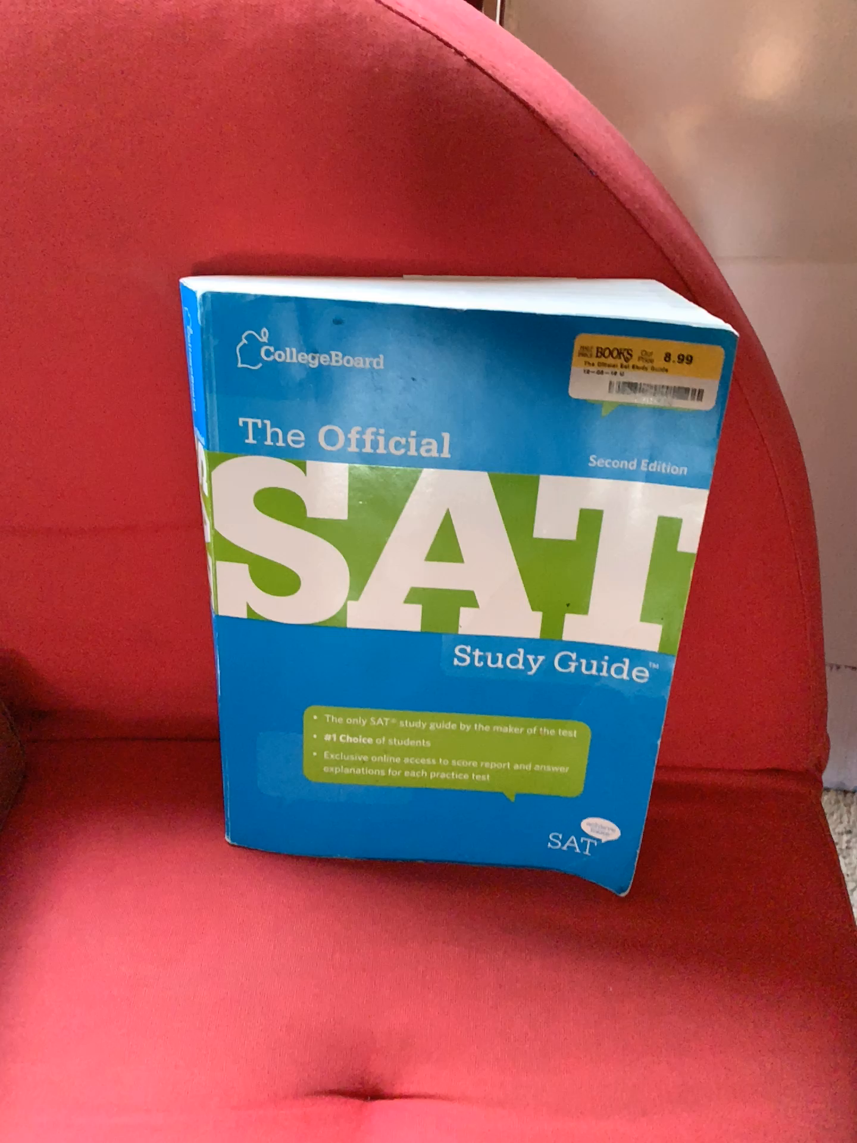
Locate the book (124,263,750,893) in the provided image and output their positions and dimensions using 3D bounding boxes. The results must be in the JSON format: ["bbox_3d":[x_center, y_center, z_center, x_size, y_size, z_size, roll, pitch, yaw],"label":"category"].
[{"bbox_3d":[0.000,0.001,0.401,0.230,0.259,0.080,4,19,5],"label":"book"}]
